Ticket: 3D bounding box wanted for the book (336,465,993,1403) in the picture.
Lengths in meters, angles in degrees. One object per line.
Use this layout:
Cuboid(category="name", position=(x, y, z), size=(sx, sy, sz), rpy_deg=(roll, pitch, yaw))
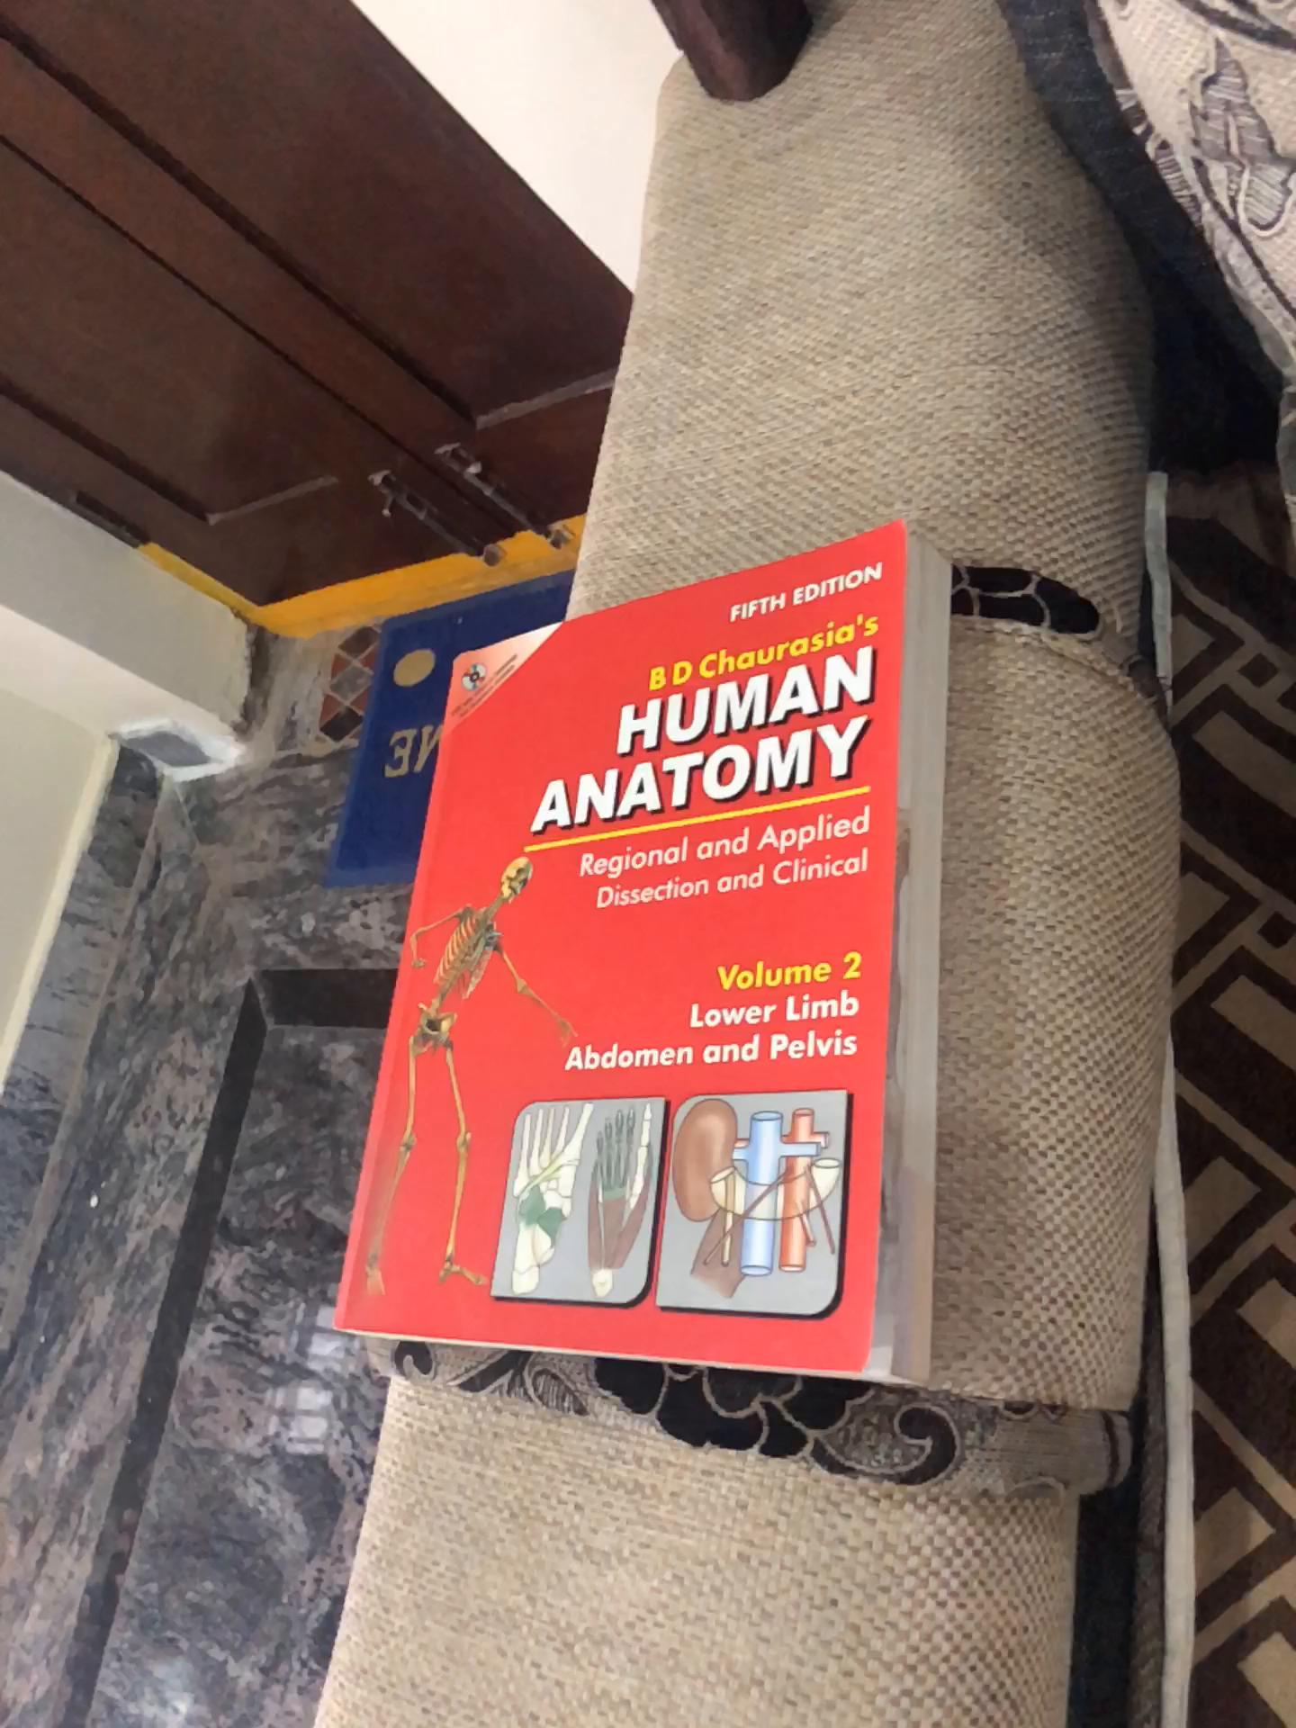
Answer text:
Cuboid(category="book", position=(0.006, 0.024, 0.501), size=(0.221, 0.040, 0.290), rpy_deg=(-10, 63, 37))
